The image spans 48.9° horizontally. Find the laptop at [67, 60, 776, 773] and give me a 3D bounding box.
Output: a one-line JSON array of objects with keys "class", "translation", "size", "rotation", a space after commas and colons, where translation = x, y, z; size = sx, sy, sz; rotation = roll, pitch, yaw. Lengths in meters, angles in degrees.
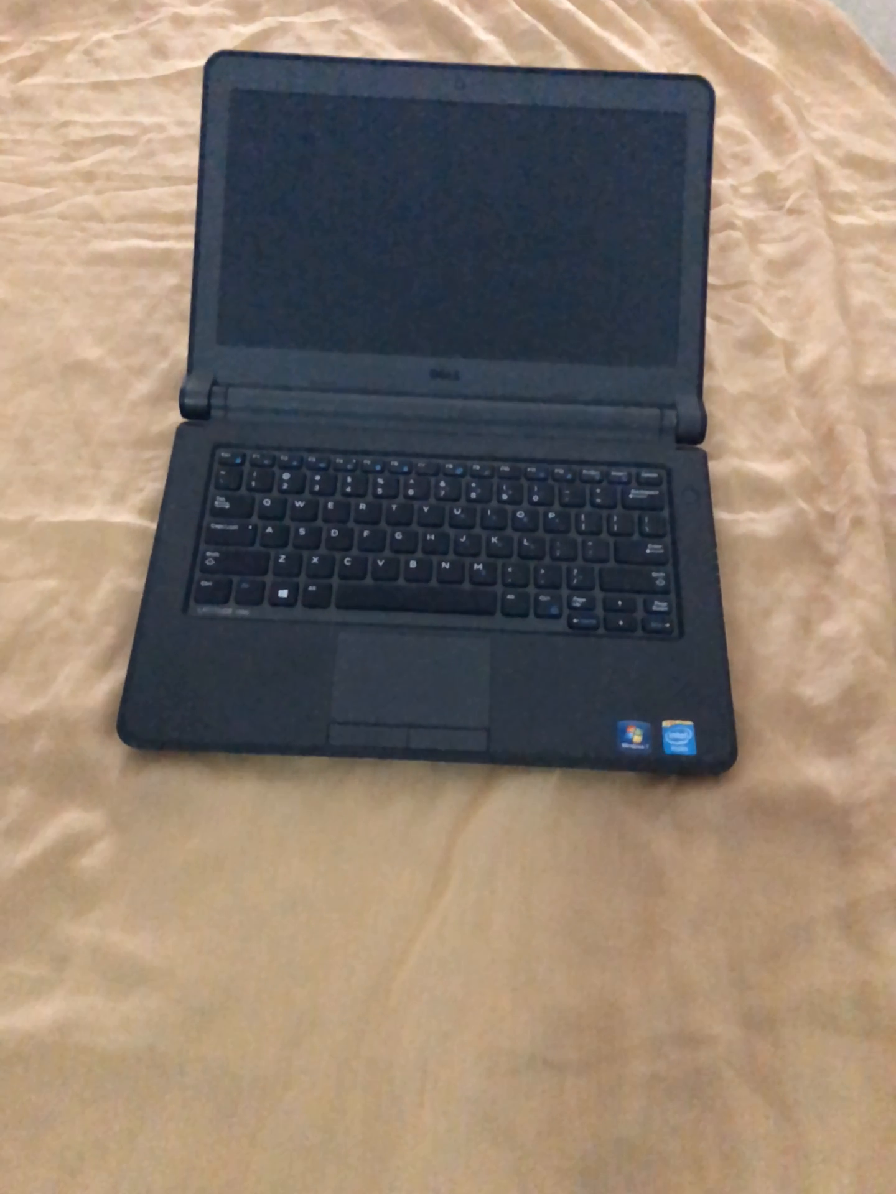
[{"class": "laptop", "translation": [-0.005, -0.121, 0.562], "size": [0.308, 0.092, 0.411], "rotation": [3, 63, -1]}]
